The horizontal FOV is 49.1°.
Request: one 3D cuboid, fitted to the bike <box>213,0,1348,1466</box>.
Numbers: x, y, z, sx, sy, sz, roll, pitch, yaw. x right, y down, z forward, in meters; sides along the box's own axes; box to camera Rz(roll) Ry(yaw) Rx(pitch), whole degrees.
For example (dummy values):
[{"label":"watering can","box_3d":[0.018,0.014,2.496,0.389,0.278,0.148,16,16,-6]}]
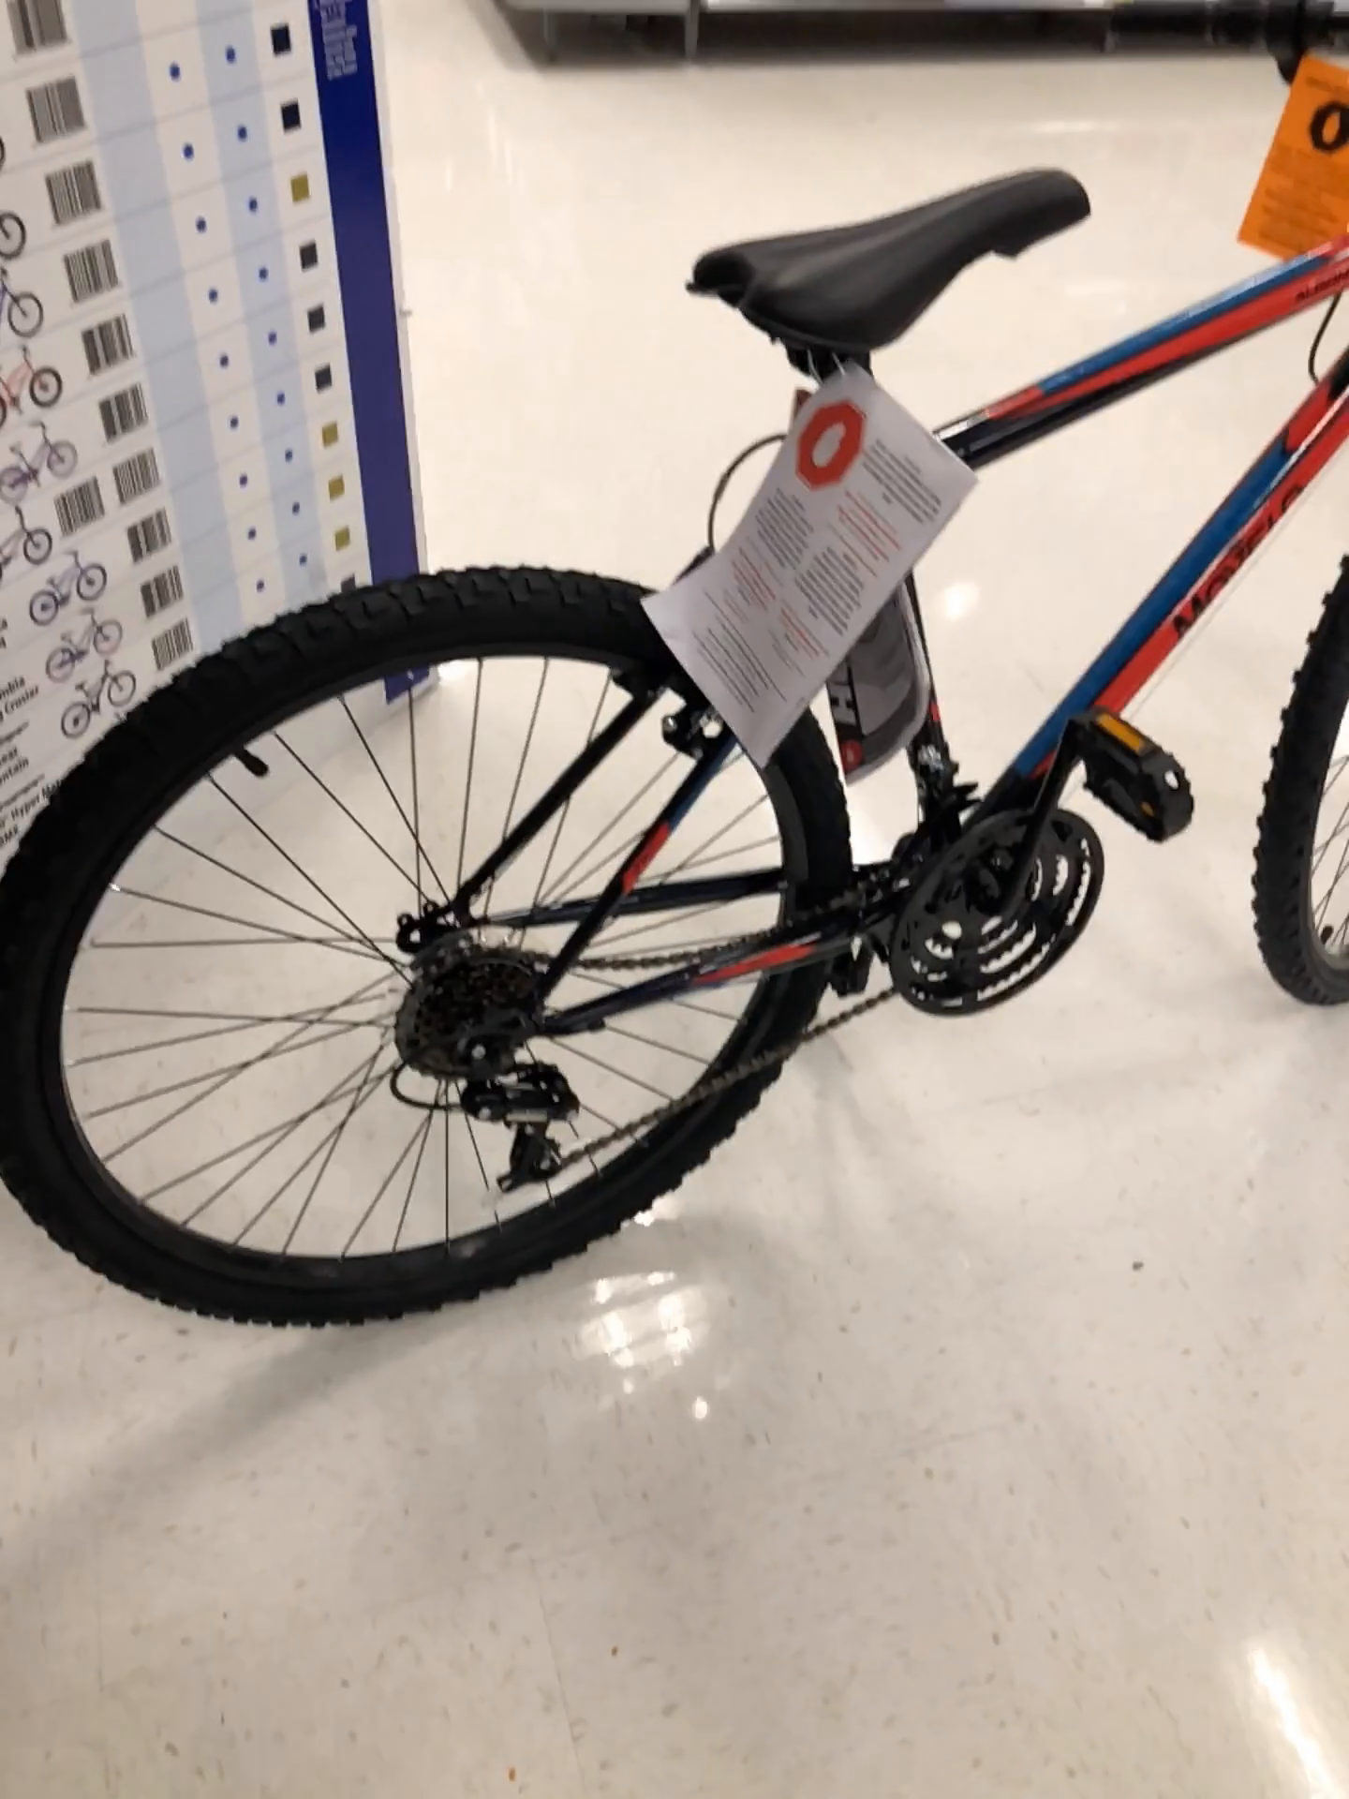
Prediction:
[{"label":"bike","box_3d":[0.436,-0.270,1.186,1.286,0.942,0.562,-19,49,-20]}]
